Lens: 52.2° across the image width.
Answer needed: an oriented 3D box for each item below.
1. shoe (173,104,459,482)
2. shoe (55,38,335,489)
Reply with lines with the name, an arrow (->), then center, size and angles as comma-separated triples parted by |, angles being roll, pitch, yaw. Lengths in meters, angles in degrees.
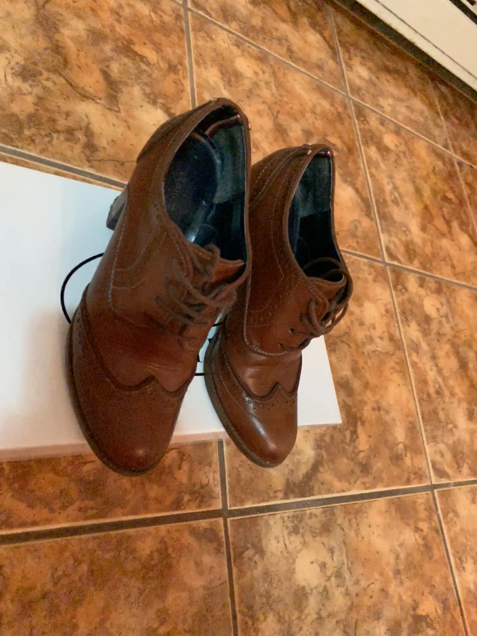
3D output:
shoe -> 0.043, -0.010, 0.368 | 0.096, 0.136, 0.228 | 2, 68, -38
shoe -> -0.040, -0.021, 0.308 | 0.096, 0.136, 0.228 | 11, 63, -35
